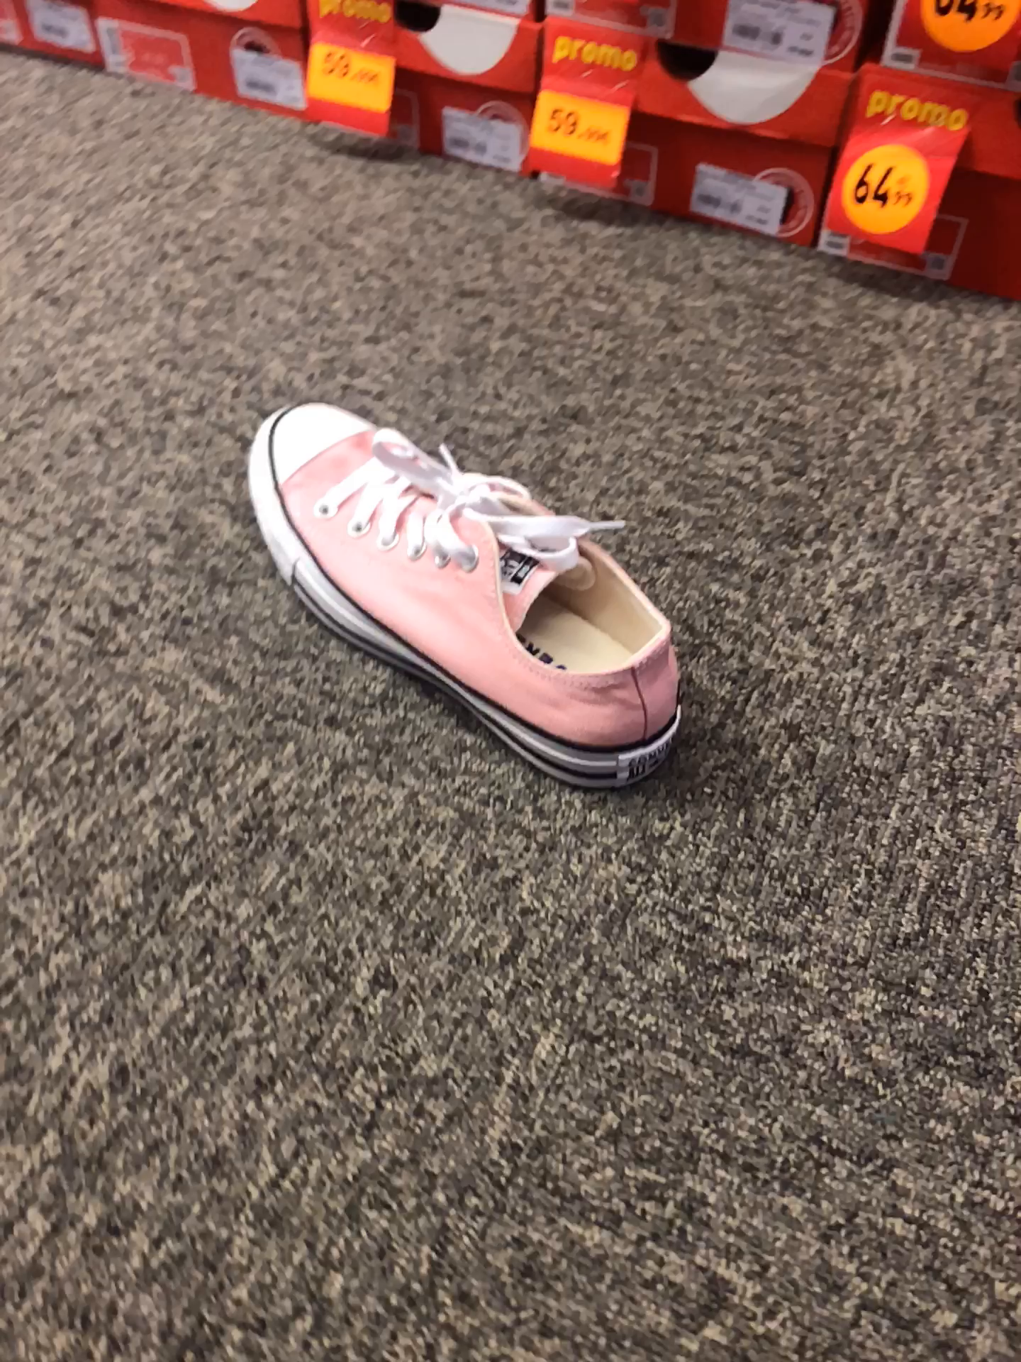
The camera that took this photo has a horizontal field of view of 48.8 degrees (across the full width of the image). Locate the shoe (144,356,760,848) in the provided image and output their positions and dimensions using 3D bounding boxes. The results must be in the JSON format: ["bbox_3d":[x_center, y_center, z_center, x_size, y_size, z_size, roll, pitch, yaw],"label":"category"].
[{"bbox_3d":[-0.037,-0.052,0.503,0.280,0.060,0.100,34,57,31],"label":"shoe"}]
